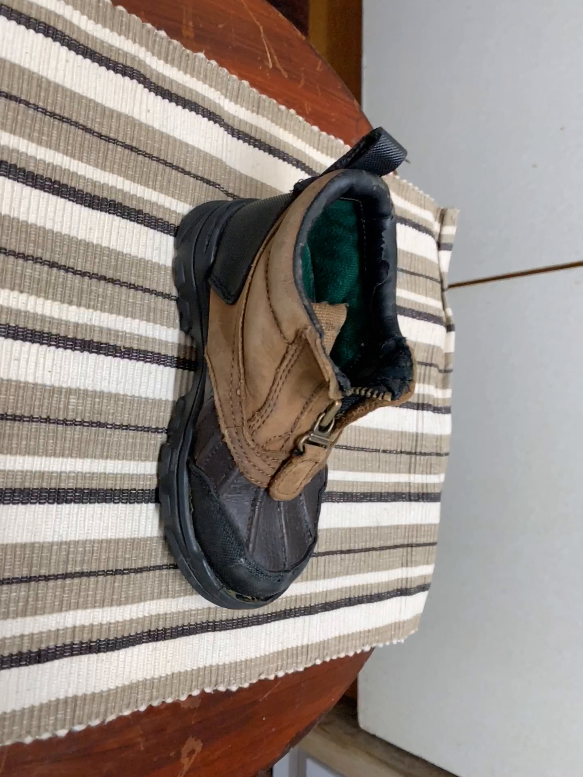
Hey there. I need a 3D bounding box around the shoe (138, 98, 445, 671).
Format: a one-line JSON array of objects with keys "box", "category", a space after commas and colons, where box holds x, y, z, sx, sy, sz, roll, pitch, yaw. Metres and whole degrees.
[{"box": [0.001, 0.000, 0.249, 0.081, 0.089, 0.180, 6, 84, -43], "category": "shoe"}]
